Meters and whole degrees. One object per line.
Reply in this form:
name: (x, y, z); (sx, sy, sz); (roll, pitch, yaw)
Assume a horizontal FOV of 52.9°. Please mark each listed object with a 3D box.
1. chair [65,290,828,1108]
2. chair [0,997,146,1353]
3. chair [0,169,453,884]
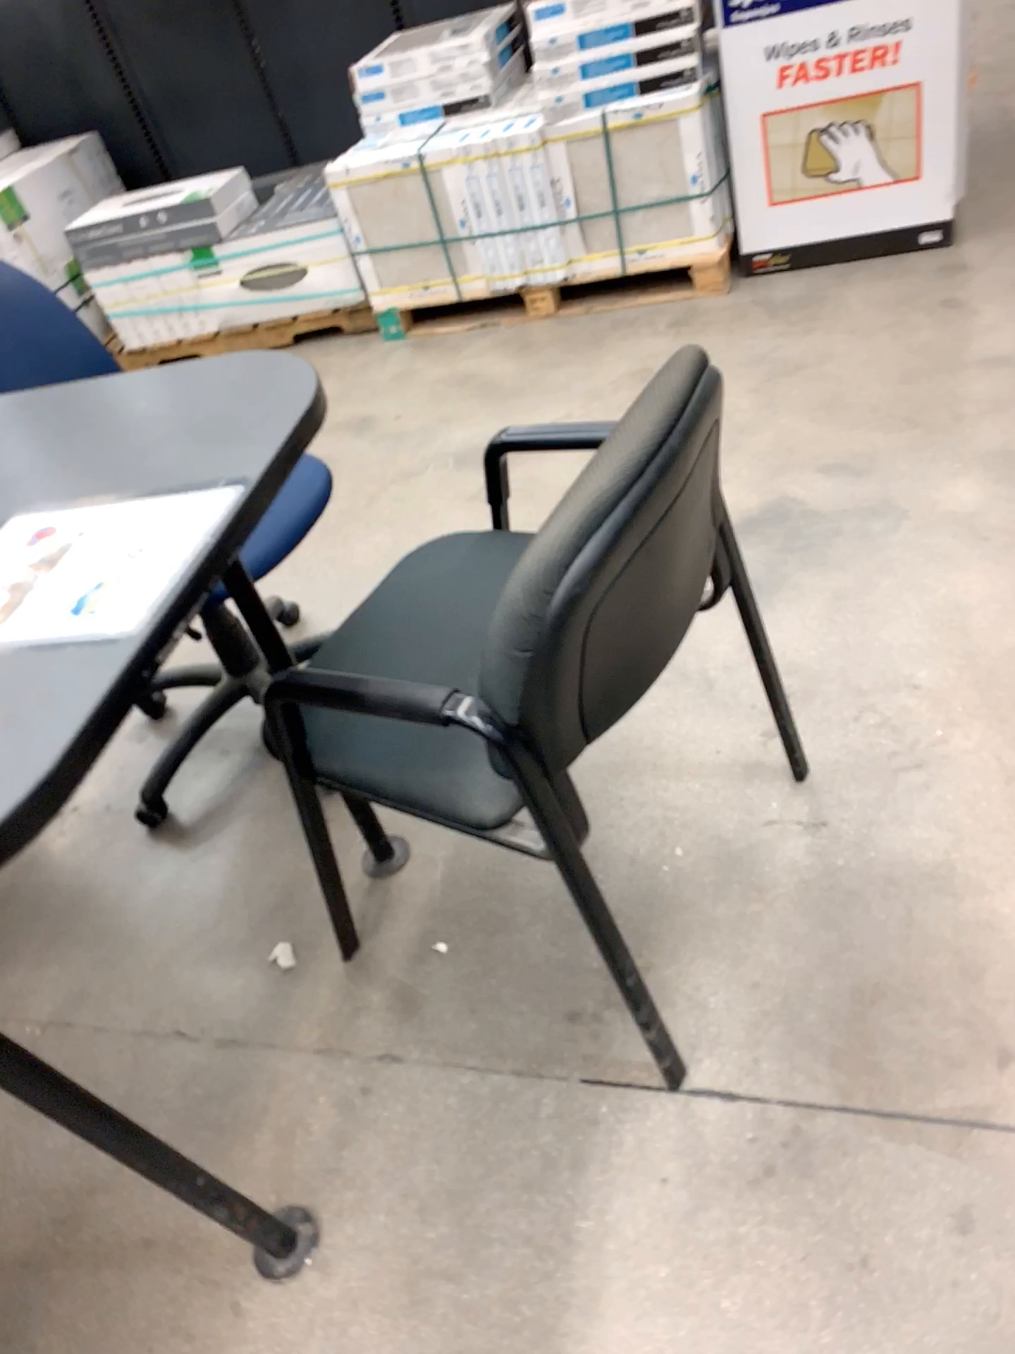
chair: (0.016, 0.004, 1.339); (0.586, 0.749, 0.606); (10, 47, 31)
chair: (-0.865, 0.777, 0.765); (0.638, 0.777, 0.584); (5, 45, 27)
chair: (-0.682, -0.259, 1.802); (0.717, 0.917, 0.645); (10, 47, 31)
